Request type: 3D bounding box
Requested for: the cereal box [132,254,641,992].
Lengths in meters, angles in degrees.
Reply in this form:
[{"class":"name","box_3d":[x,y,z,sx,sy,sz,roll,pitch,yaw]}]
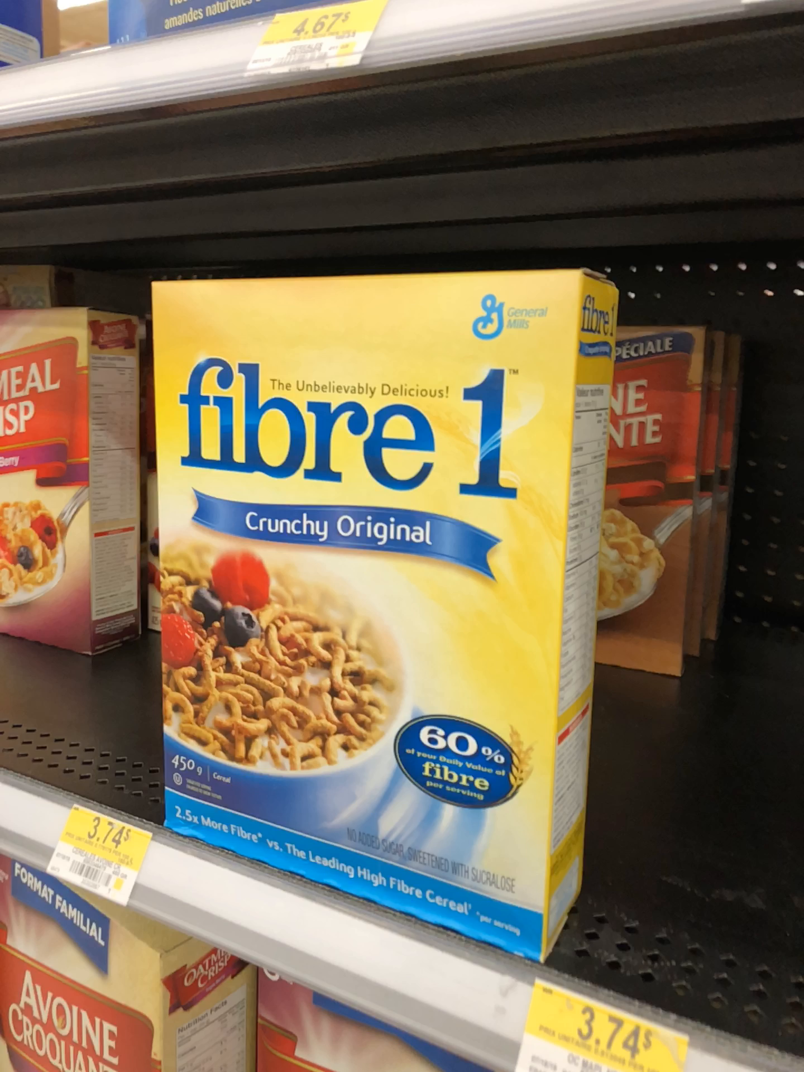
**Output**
[{"class":"cereal box","box_3d":[-0.016,0.022,0.375,0.200,0.259,0.060,7,12,29]}]
